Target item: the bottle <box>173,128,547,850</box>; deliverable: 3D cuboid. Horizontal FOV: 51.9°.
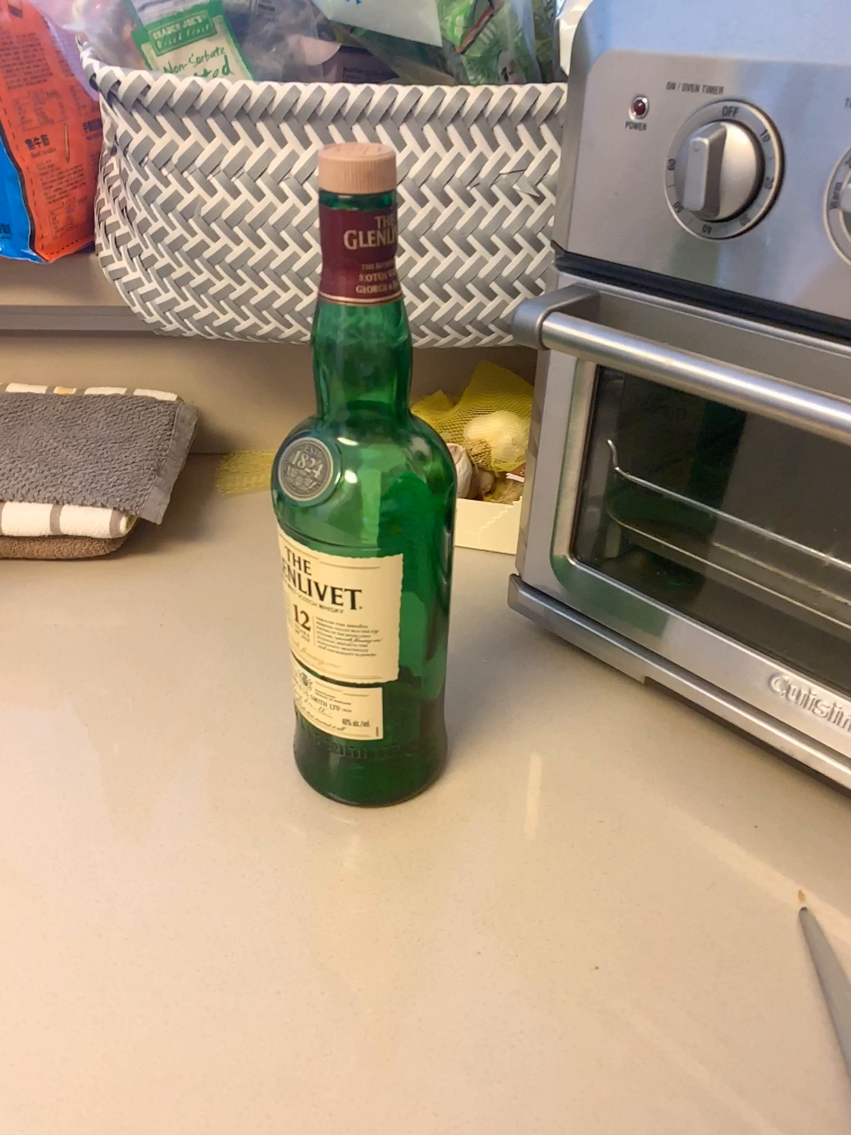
[{"bbox_3d":[-0.024,-0.025,0.373,0.090,0.278,0.090,1,32,-1],"label":"bottle"}]
